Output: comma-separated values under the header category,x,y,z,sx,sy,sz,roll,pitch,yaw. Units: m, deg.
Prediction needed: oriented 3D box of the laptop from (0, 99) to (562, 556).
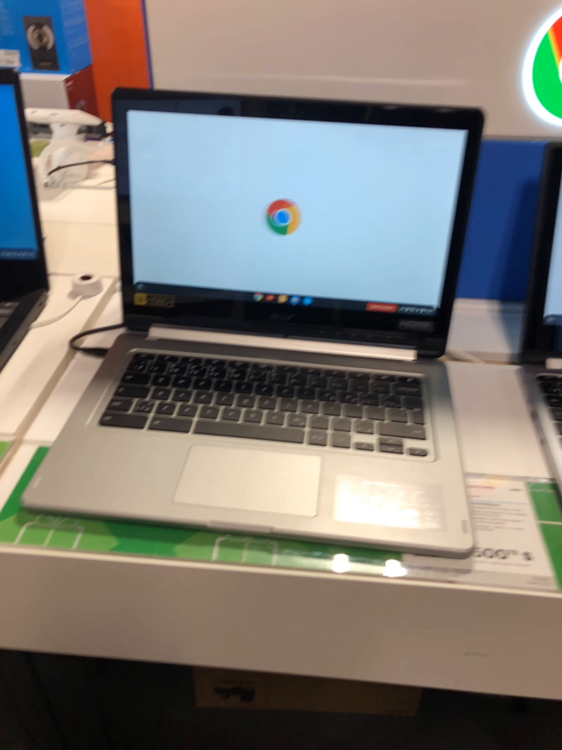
category,x,y,z,sx,sy,sz,roll,pitch,yaw
laptop,-0.014,-0.053,0.458,0.317,0.226,0.240,5,35,5
